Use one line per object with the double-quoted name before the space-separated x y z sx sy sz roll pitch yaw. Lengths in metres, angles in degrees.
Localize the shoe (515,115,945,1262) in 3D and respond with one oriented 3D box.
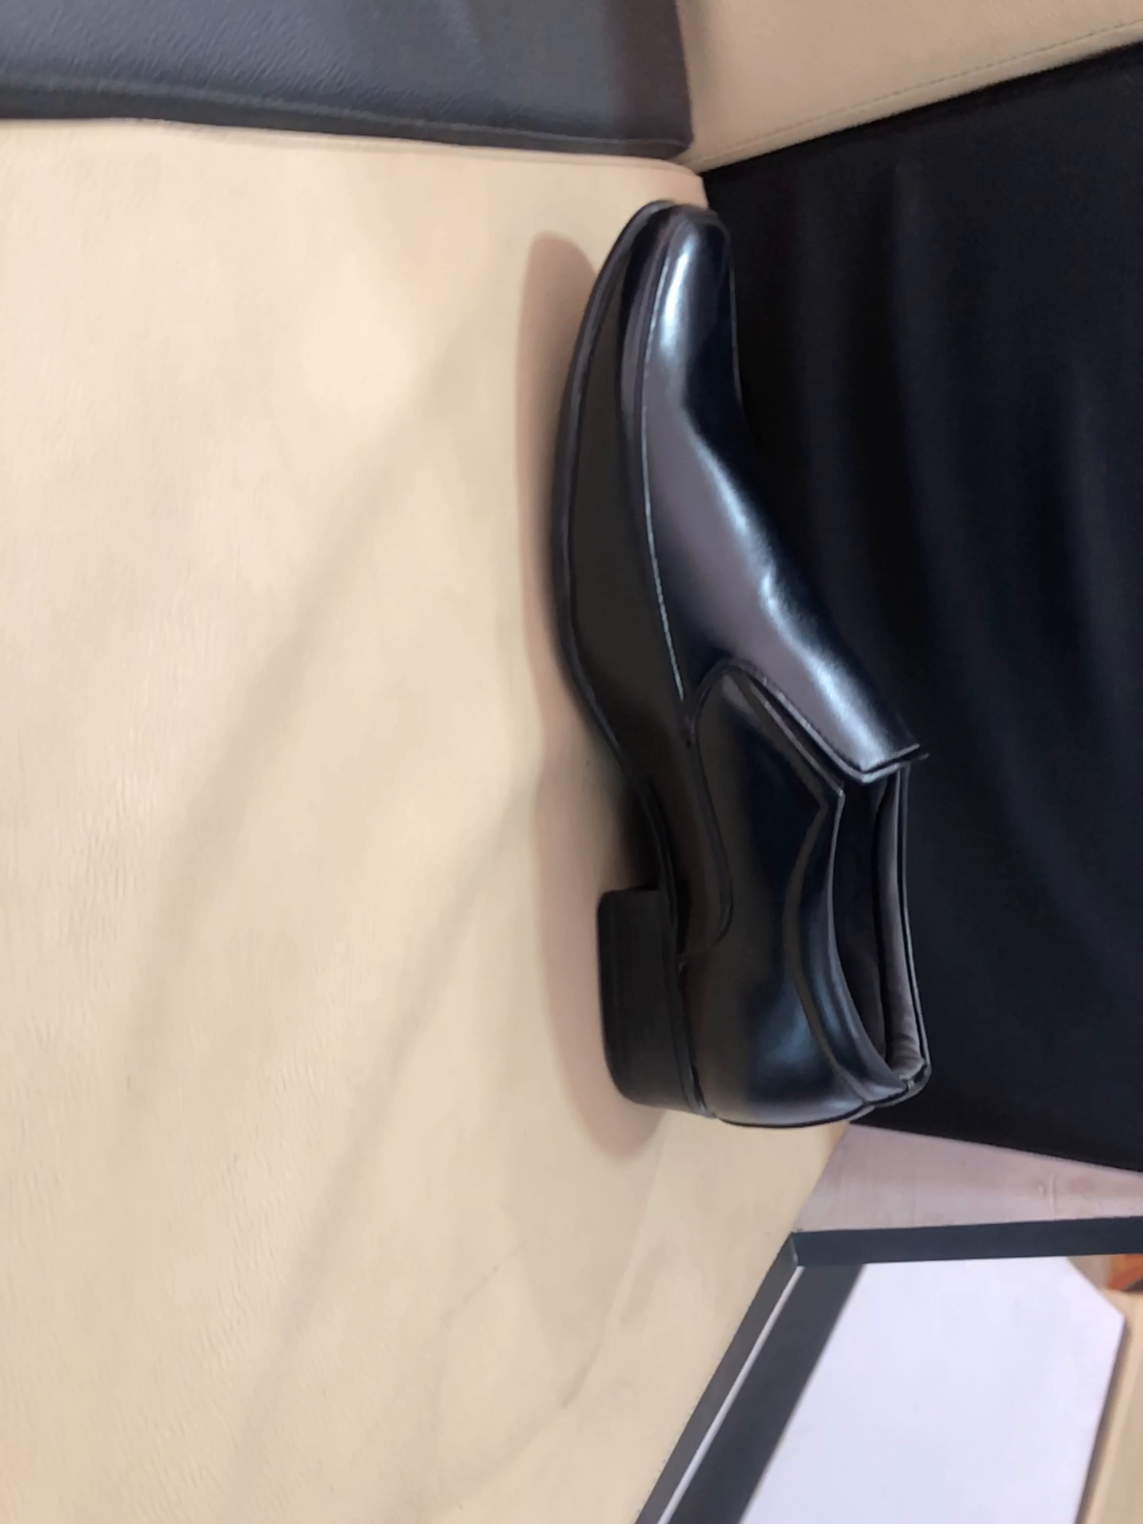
"shoe" 0.060 -0.018 0.414 0.101 0.079 0.320 -20 107 -56
